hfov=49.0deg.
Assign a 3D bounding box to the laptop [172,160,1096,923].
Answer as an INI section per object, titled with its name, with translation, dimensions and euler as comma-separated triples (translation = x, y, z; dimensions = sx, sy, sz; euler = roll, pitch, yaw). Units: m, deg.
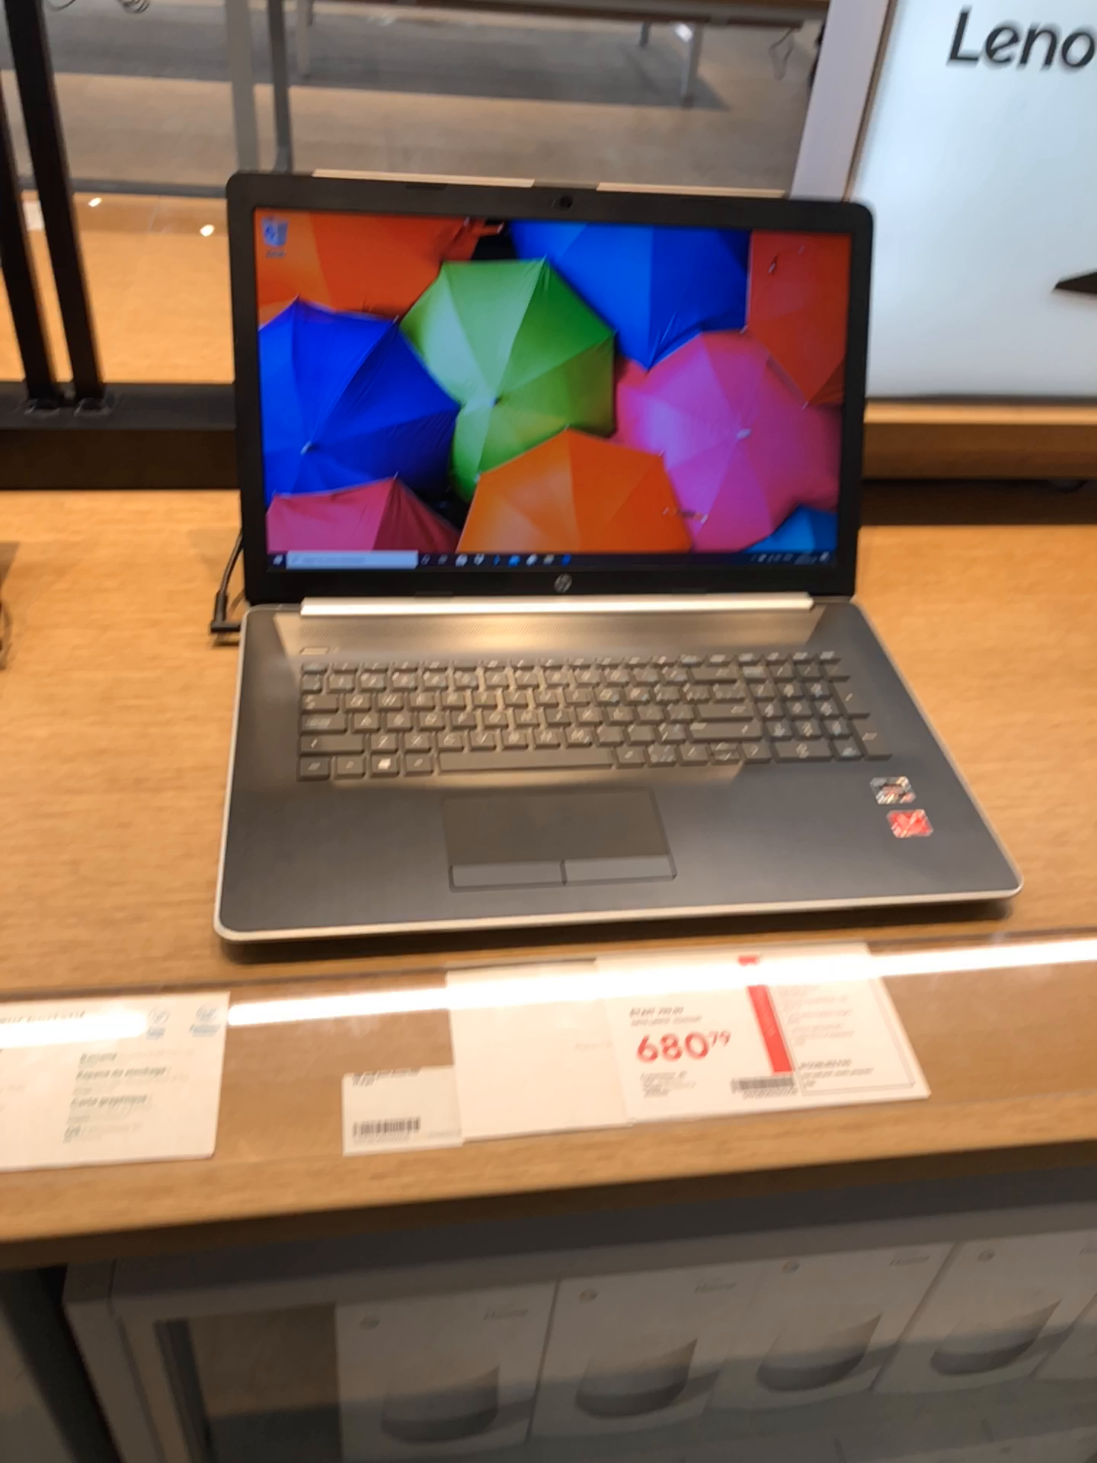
[laptop]
translation = 0.022, -0.133, 0.692
dimensions = 0.399, 0.217, 0.399
euler = -2, 43, -9
